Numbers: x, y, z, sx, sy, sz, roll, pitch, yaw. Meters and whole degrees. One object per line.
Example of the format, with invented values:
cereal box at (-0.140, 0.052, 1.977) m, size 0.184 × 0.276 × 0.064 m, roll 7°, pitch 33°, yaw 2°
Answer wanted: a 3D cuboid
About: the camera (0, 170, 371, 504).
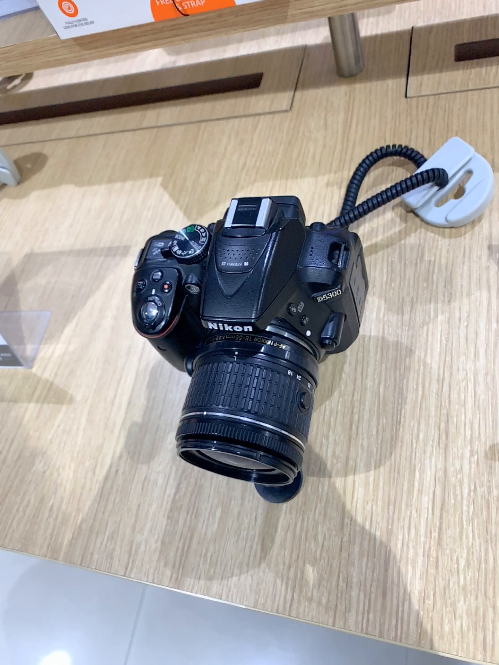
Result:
camera at (-0.017, 0.003, 0.245) m, size 0.130 × 0.080 × 0.120 m, roll 1°, pitch 62°, yaw 20°
